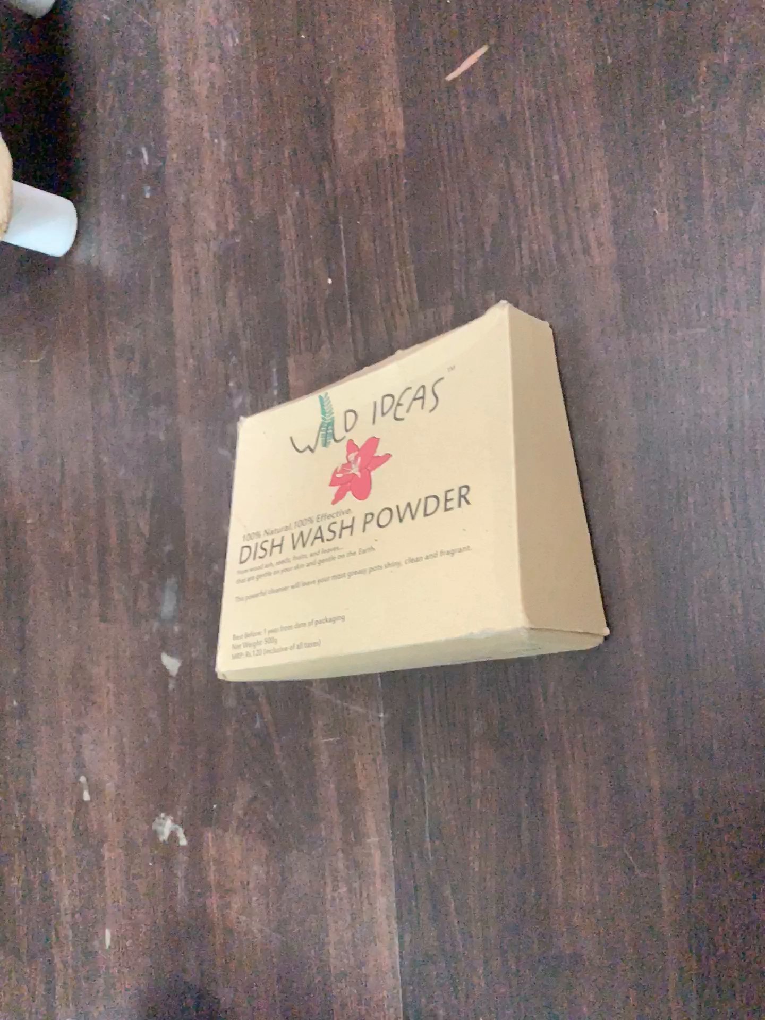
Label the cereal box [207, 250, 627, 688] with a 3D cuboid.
[{"bbox_3d":[0.007,-0.005,0.362,0.181,0.060,0.150,-16,64,38],"label":"cereal box"}]
